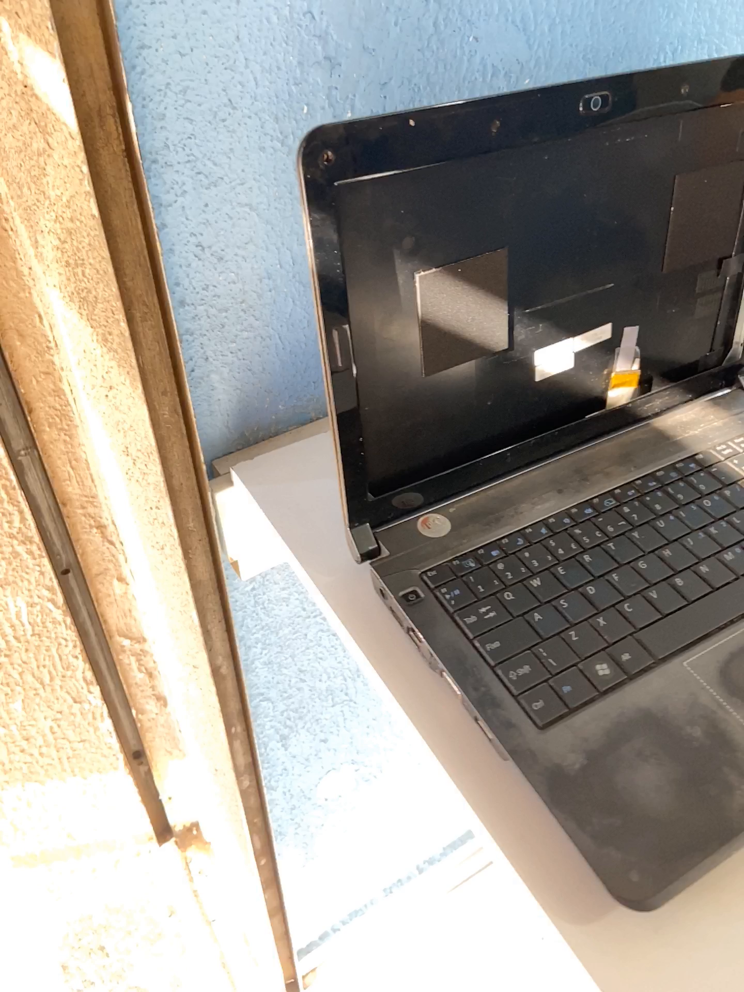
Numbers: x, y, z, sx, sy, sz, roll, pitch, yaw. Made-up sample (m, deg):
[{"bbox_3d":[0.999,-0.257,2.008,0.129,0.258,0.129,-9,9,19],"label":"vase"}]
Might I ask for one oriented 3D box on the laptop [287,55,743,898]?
[{"bbox_3d":[0.179,-0.053,0.389,0.335,0.216,0.277,-21,46,-22],"label":"laptop"}]
